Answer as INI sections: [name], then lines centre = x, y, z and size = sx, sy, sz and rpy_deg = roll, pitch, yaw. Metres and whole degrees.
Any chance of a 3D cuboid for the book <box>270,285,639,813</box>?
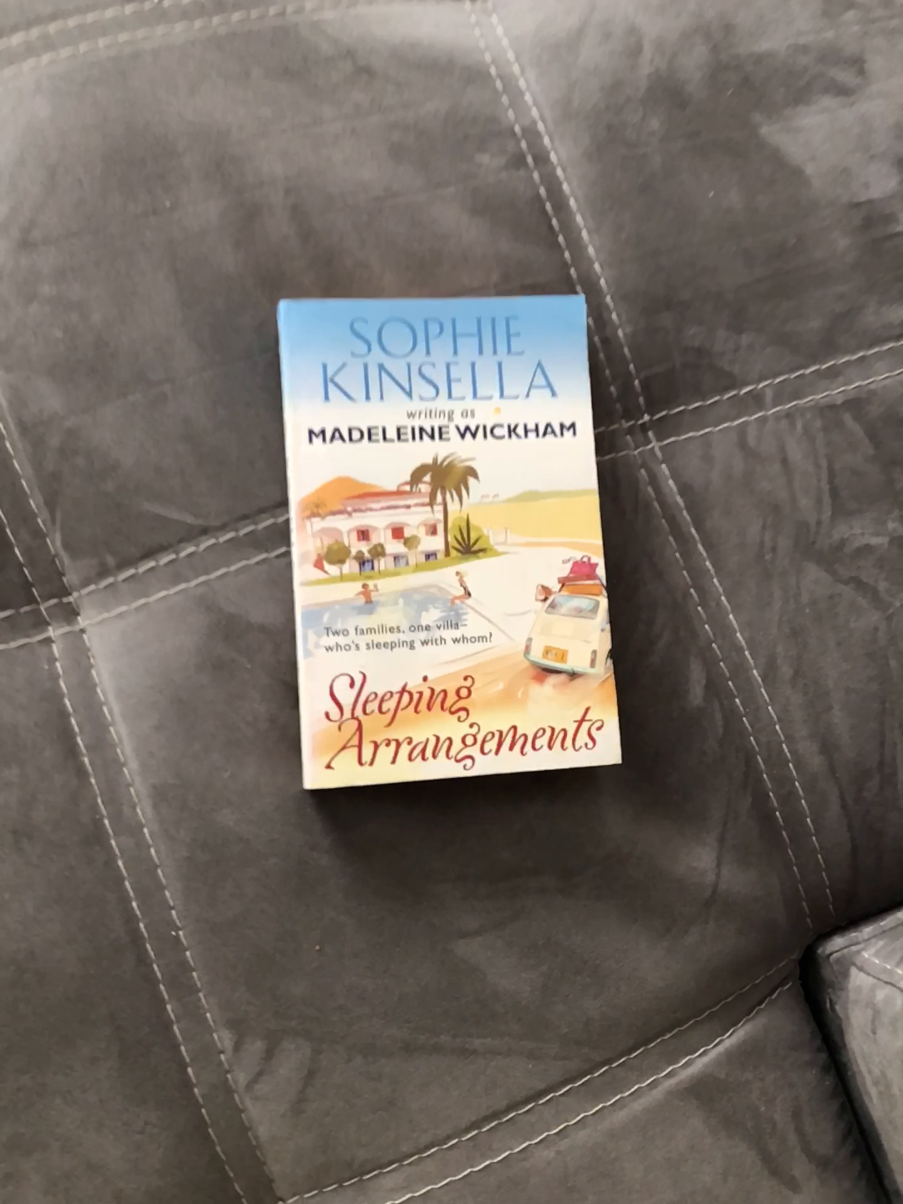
[book]
centre = -0.001, -0.025, 0.399
size = 0.130, 0.030, 0.200
rpy_deg = -3, 84, -10
